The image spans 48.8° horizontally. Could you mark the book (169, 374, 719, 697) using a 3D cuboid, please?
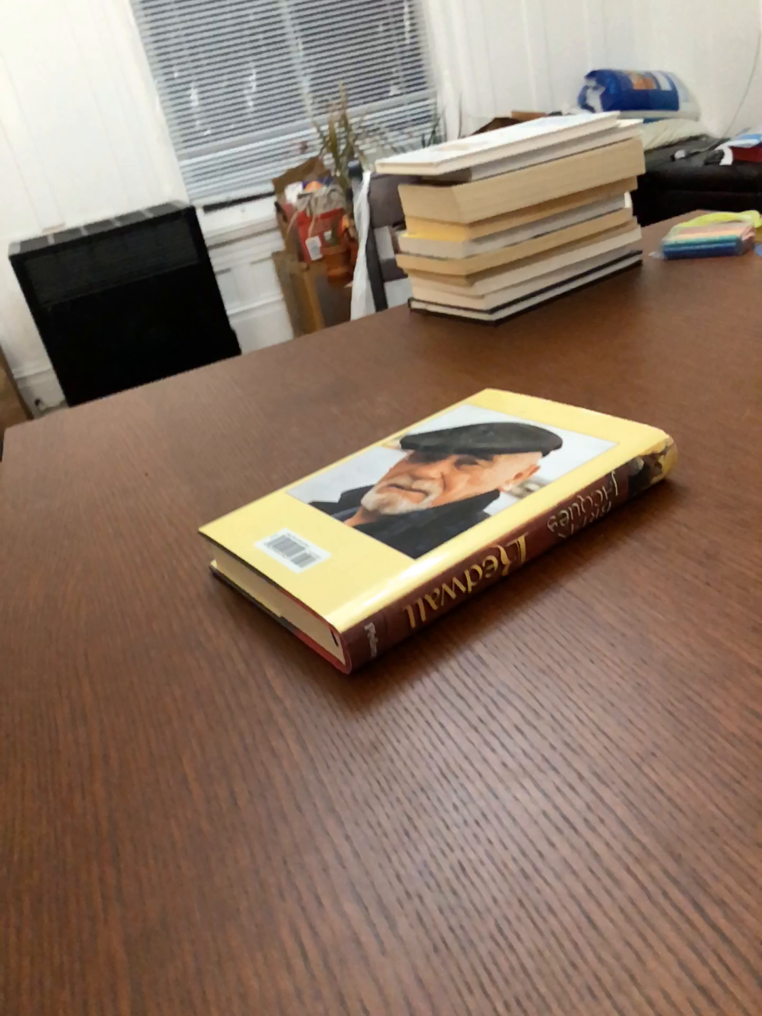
[{"bbox_3d":[0.032,-0.008,0.482,0.250,0.030,0.191,-27,29,-26],"label":"book"}]
